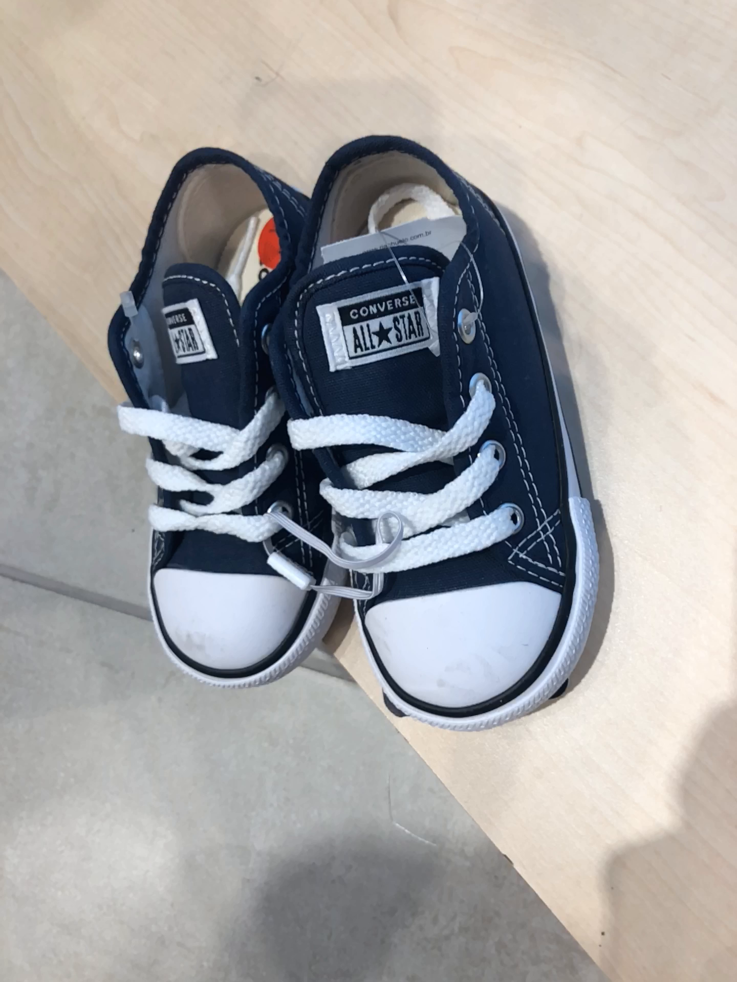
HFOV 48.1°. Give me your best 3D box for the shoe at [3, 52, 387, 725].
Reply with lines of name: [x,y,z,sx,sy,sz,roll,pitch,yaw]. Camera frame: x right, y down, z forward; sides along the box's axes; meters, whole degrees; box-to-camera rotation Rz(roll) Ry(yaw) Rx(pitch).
shoe: [-0.049,-0.027,0.249,0.080,0.060,0.170,3,86,24]

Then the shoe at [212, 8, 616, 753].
shoe: [0.013,-0.022,0.226,0.080,0.060,0.170,-8,82,22]
